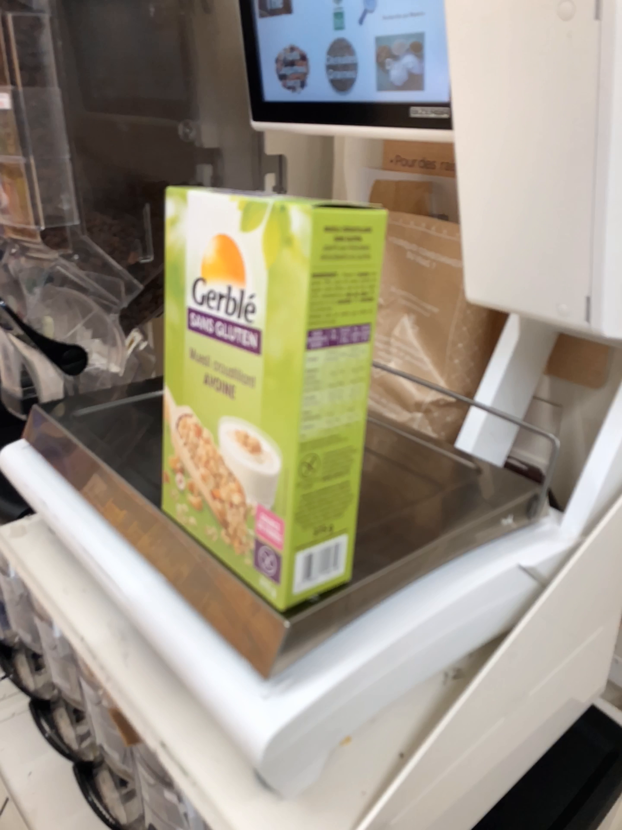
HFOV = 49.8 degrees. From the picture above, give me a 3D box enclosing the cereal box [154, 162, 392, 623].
[{"bbox_3d":[-0.036,-0.023,0.393,0.050,0.229,0.150,-10,22,-37],"label":"cereal box"}]
